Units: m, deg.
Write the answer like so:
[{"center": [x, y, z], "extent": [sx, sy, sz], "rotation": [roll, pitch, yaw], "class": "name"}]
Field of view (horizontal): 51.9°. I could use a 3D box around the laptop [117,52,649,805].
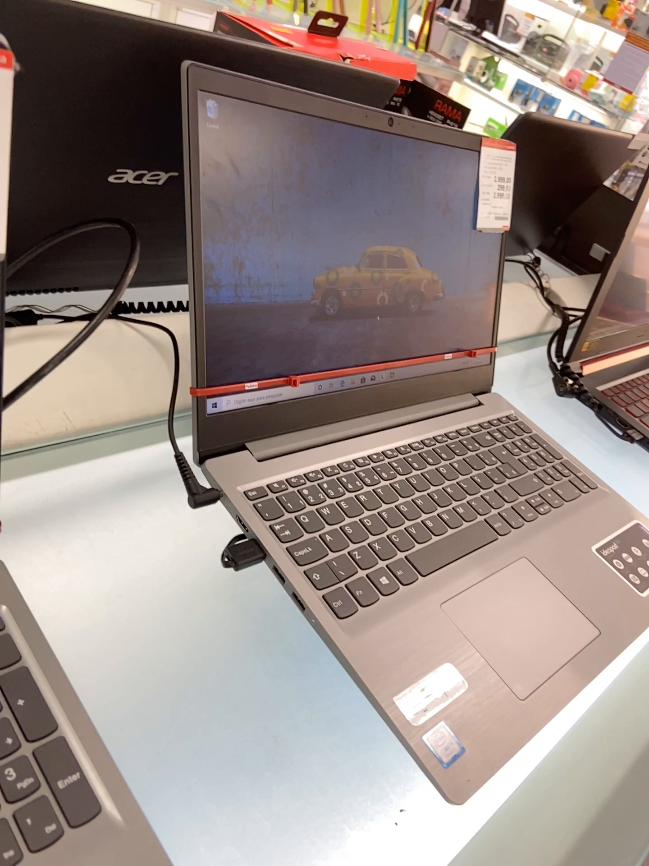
[{"center": [0.121, -0.052, 0.483], "extent": [0.370, 0.209, 0.380], "rotation": [-13, 49, -42], "class": "laptop"}]
